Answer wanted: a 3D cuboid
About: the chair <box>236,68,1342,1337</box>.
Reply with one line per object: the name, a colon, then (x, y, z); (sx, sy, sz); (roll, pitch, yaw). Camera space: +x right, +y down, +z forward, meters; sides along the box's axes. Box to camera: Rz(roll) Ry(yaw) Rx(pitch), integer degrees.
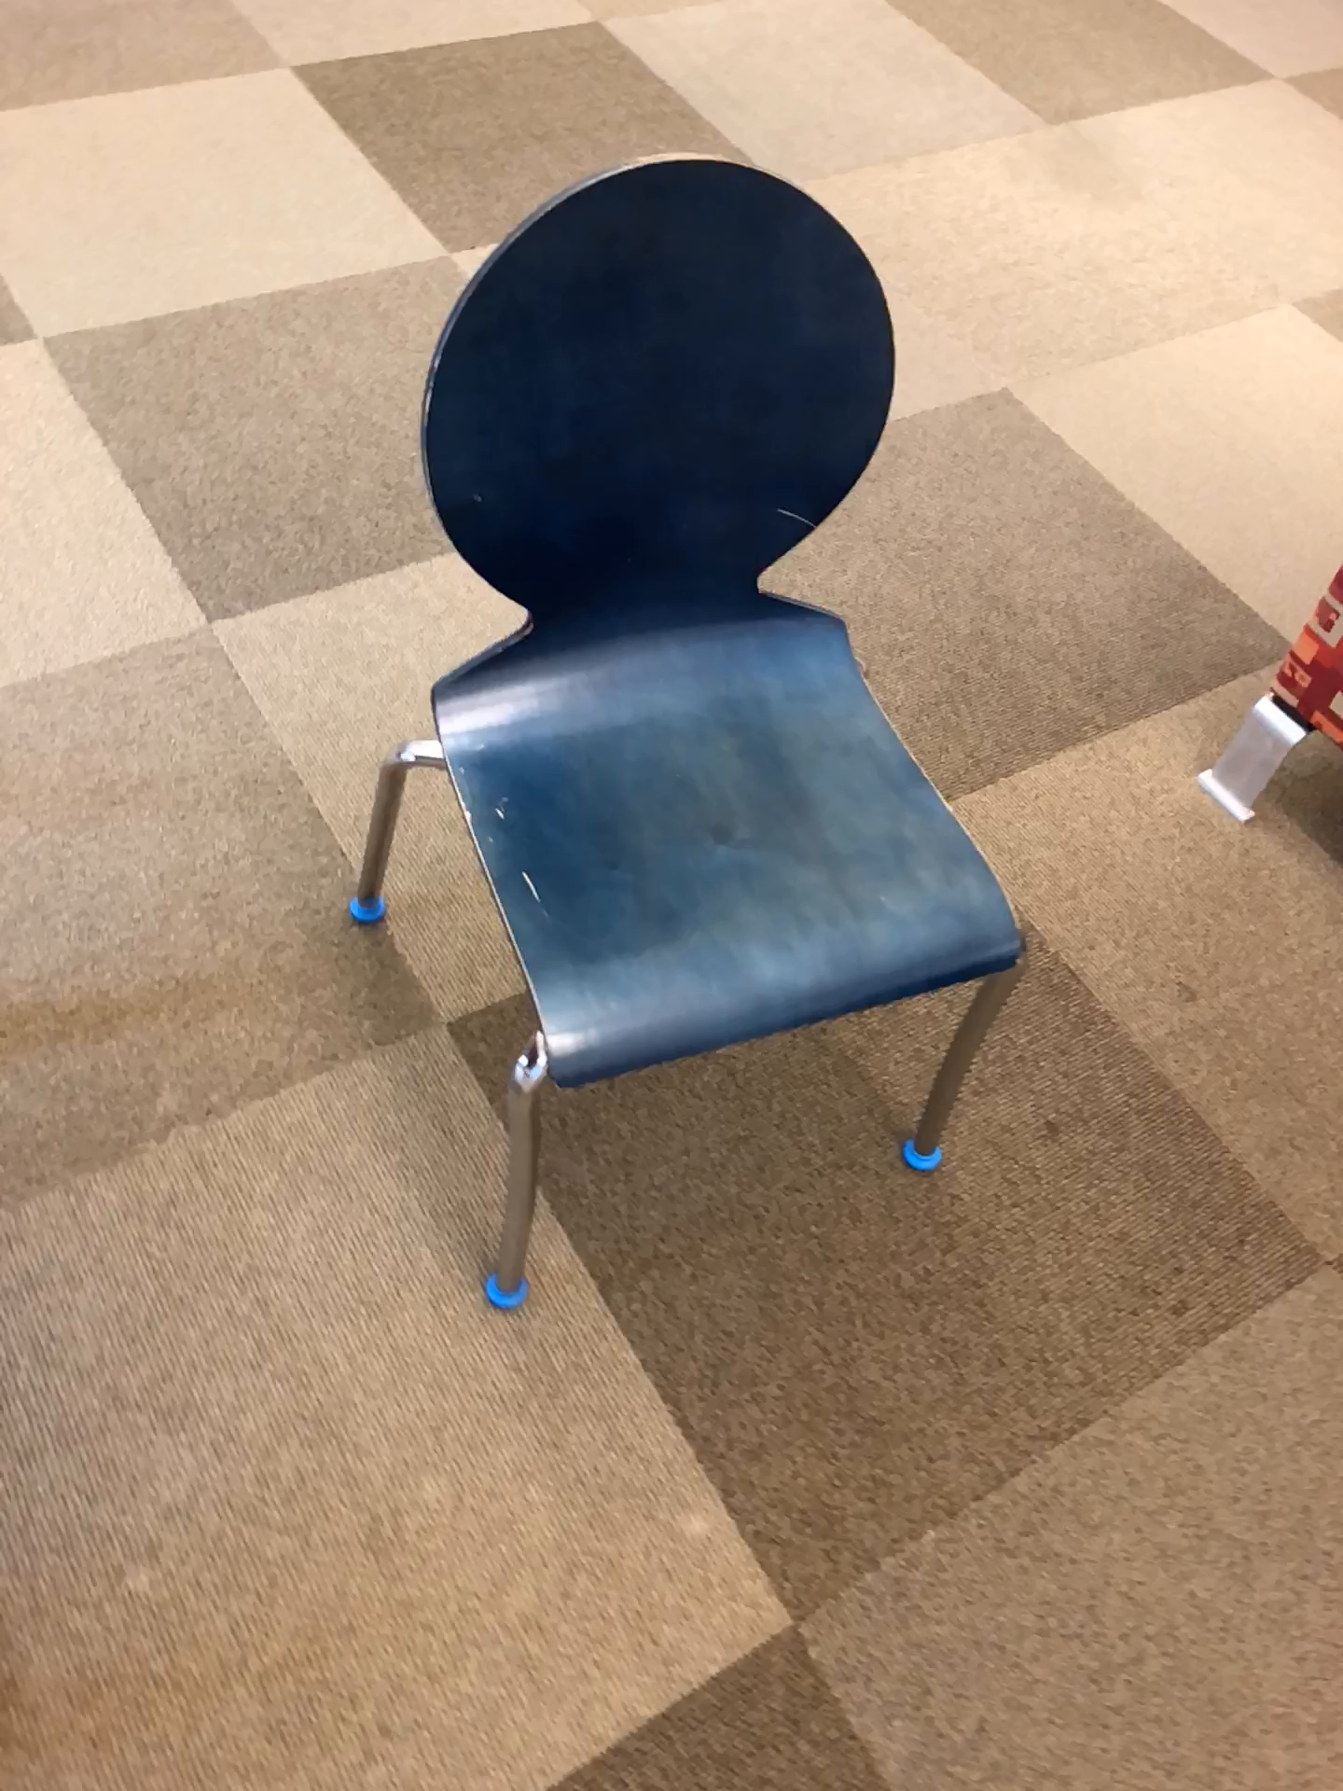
chair: (0.030, -0.107, 1.063); (0.498, 0.699, 0.474); (-14, 56, -17)
